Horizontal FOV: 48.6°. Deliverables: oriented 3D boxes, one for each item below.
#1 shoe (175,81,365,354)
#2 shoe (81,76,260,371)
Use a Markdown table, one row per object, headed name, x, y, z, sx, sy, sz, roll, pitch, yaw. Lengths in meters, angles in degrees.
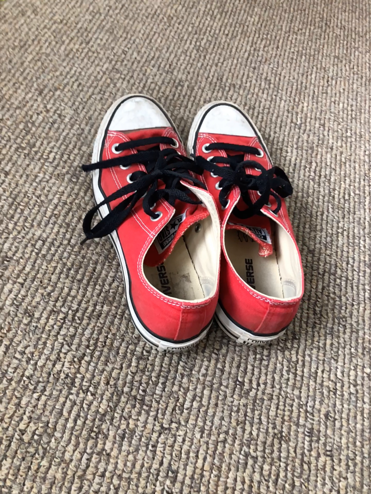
| name | x | y | z | sx | sy | sz | roll | pitch | yaw |
| --- | --- | --- | --- | --- | --- | --- | --- | --- | --- |
| shoe | 0.064 | -0.038 | 0.410 | 0.102 | 0.088 | 0.259 | -1 | 60 | -15 |
| shoe | -0.033 | -0.034 | 0.393 | 0.102 | 0.096 | 0.263 | -6 | 61 | -17 |
